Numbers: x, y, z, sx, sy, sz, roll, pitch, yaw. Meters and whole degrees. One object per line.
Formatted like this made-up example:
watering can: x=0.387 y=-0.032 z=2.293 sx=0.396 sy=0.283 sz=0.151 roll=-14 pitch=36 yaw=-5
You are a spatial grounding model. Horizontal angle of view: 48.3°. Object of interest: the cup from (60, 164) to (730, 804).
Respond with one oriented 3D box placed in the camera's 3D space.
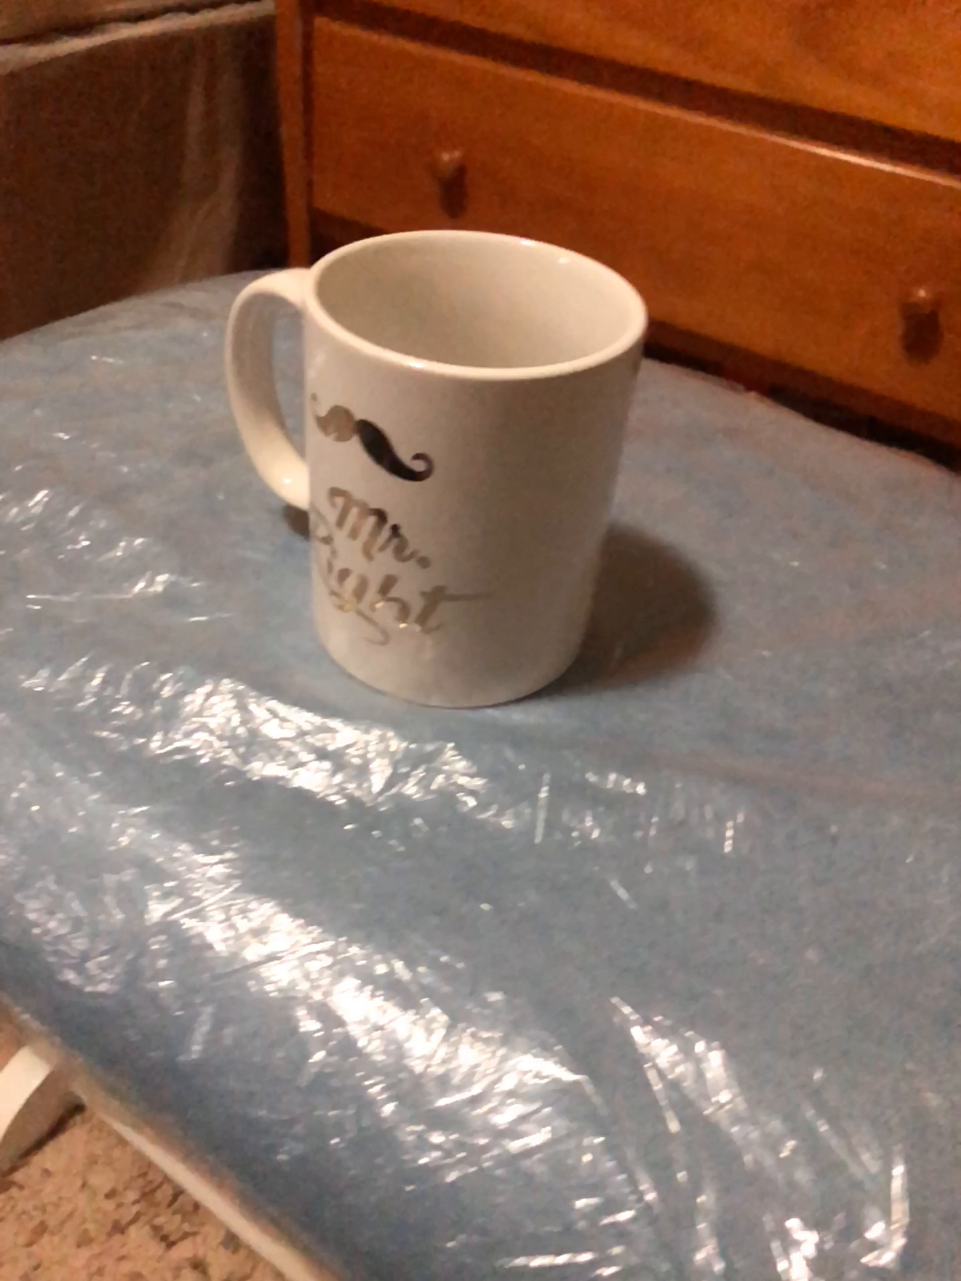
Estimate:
cup: x=-0.027 y=-0.054 z=0.309 sx=0.140 sy=0.110 sz=0.100 roll=30 pitch=44 yaw=25
